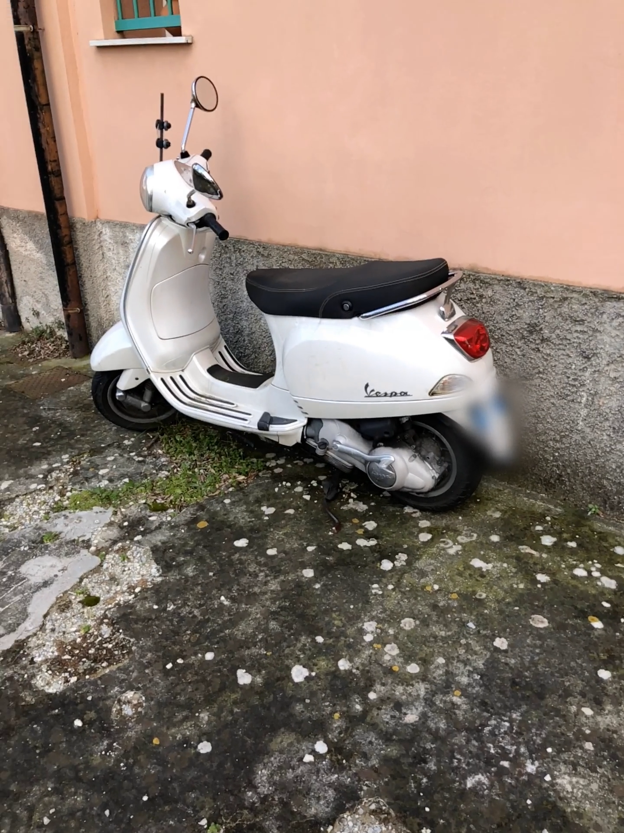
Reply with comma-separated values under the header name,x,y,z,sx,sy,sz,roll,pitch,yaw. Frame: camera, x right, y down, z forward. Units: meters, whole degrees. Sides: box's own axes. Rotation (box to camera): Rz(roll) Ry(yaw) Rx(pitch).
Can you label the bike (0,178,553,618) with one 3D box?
name,x,y,z,sx,sy,sz,roll,pitch,yaw
bike,-0.256,-0.164,2.252,1.659,1.085,0.646,10,27,27
